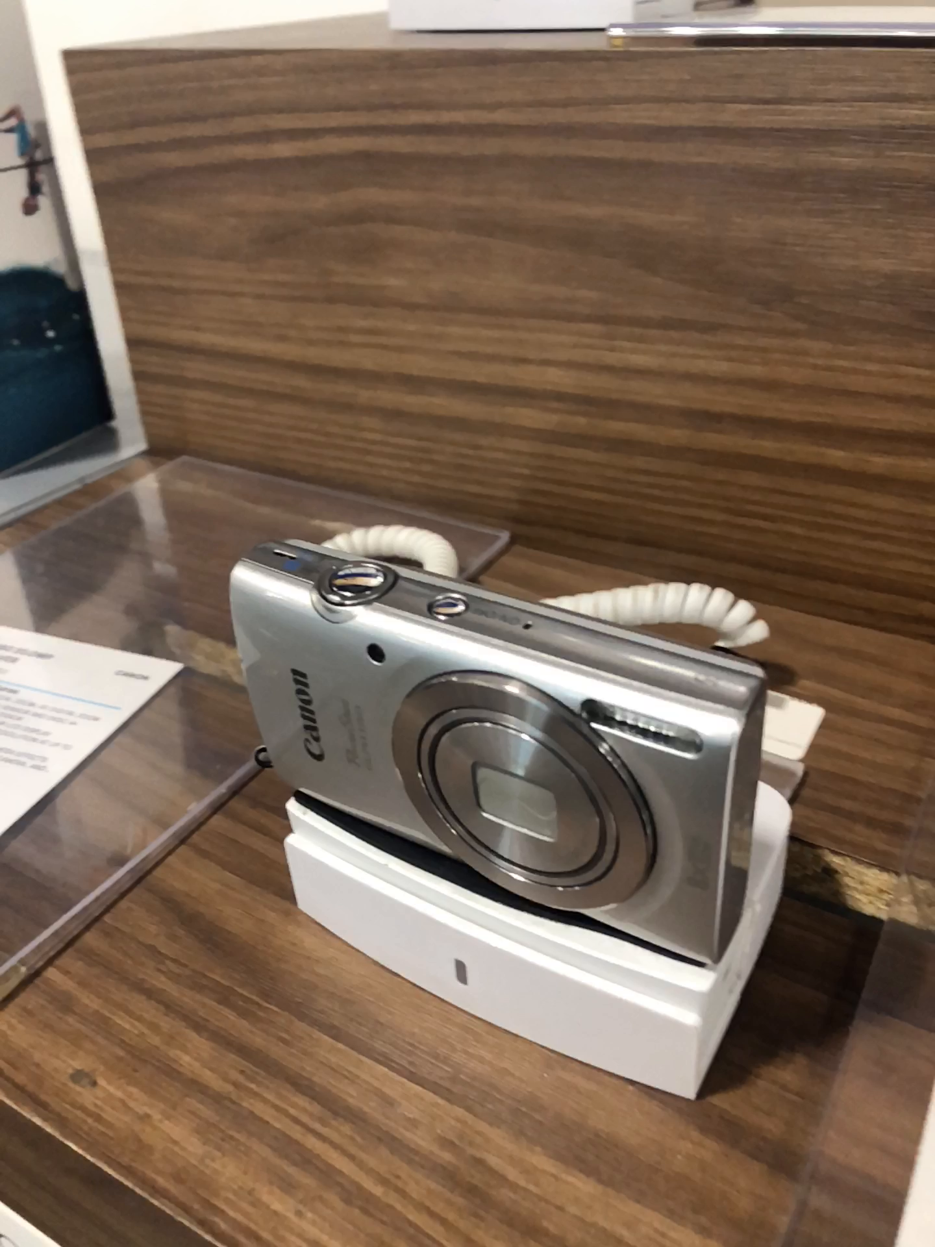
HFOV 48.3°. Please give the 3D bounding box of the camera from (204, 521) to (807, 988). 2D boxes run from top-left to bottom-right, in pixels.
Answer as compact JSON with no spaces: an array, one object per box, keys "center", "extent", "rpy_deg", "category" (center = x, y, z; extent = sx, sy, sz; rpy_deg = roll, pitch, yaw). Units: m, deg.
[{"center":[0.003,0.019,0.180],"extent":[0.100,0.050,0.020],"rpy_deg":[17,39,28],"category":"camera"}]
